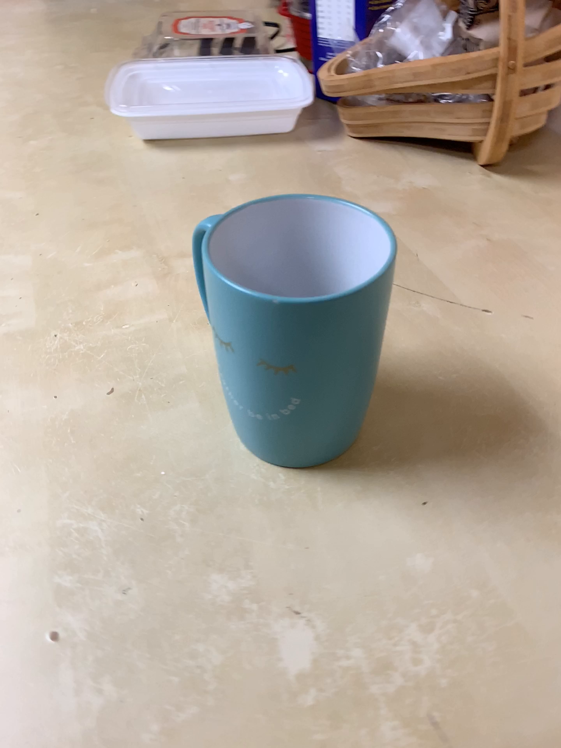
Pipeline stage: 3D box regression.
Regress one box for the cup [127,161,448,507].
[{"bbox_3d":[0.001,-0.026,0.305,0.091,0.114,0.122,-32,52,-29],"label":"cup"}]
